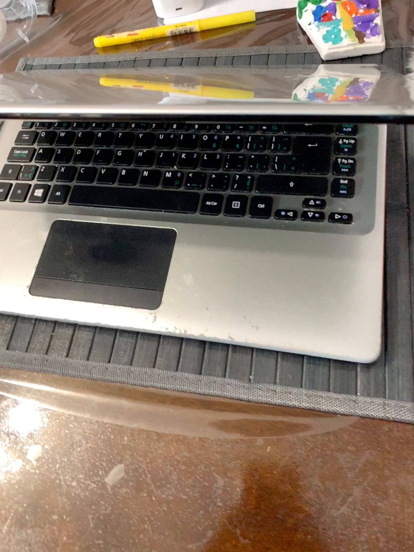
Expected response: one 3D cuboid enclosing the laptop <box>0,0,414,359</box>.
[{"bbox_3d":[-0.052,-0.096,0.282,0.343,0.141,0.225,5,68,13],"label":"laptop"}]
